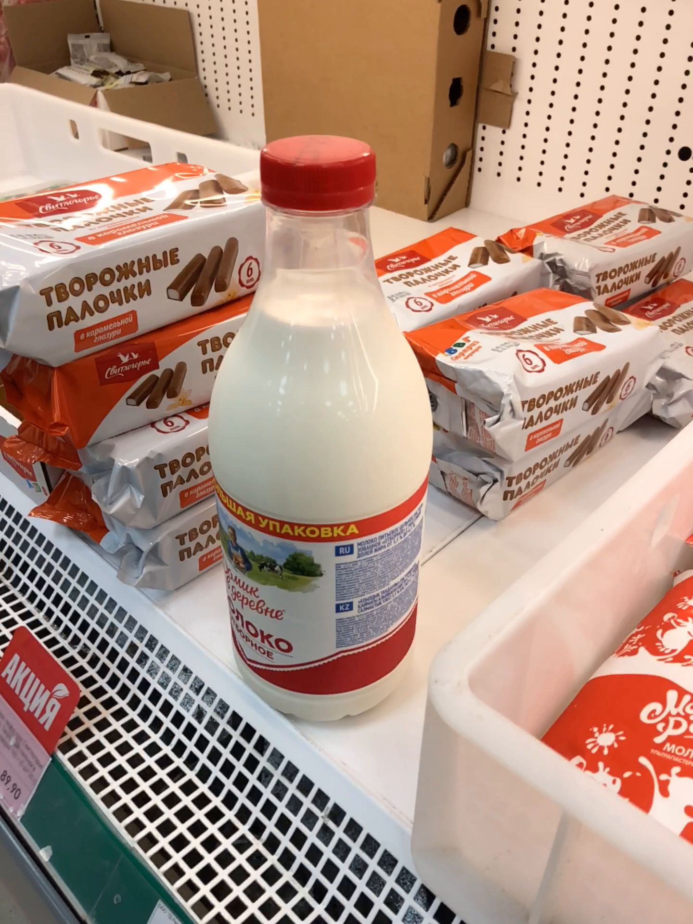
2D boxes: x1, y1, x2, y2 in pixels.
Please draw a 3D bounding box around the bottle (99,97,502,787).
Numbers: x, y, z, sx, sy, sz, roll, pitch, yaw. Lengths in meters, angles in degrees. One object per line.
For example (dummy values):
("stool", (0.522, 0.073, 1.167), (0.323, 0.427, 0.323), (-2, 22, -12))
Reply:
("bottle", (-0.018, 0.002, 0.344), (0.090, 0.278, 0.110), (-27, 44, -33))
